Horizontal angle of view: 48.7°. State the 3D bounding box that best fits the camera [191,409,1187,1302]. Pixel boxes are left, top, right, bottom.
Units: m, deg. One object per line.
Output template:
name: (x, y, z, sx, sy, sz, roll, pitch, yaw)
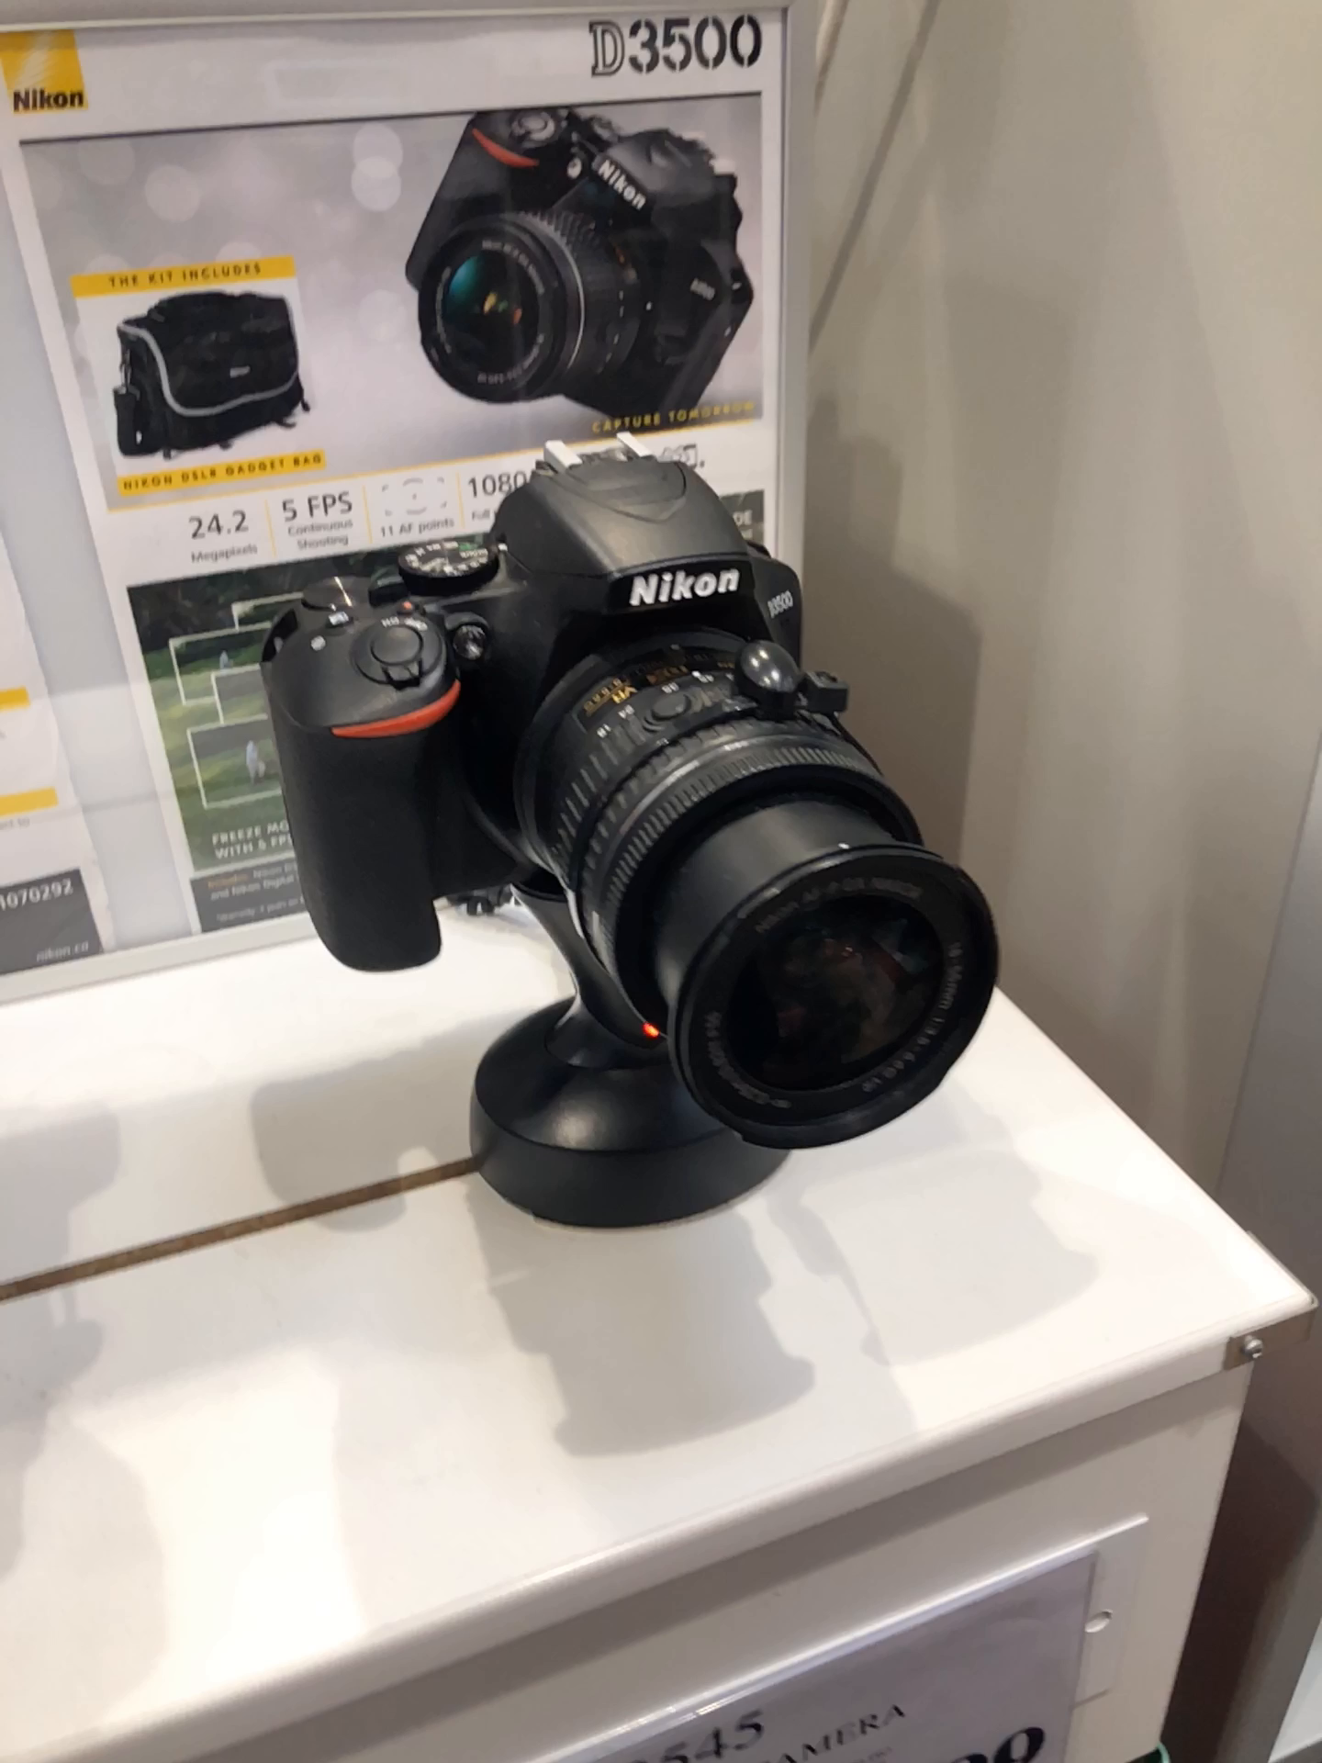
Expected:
camera: (-0.007, -0.021, 0.276, 0.130, 0.089, 0.141, -12, 33, -17)
